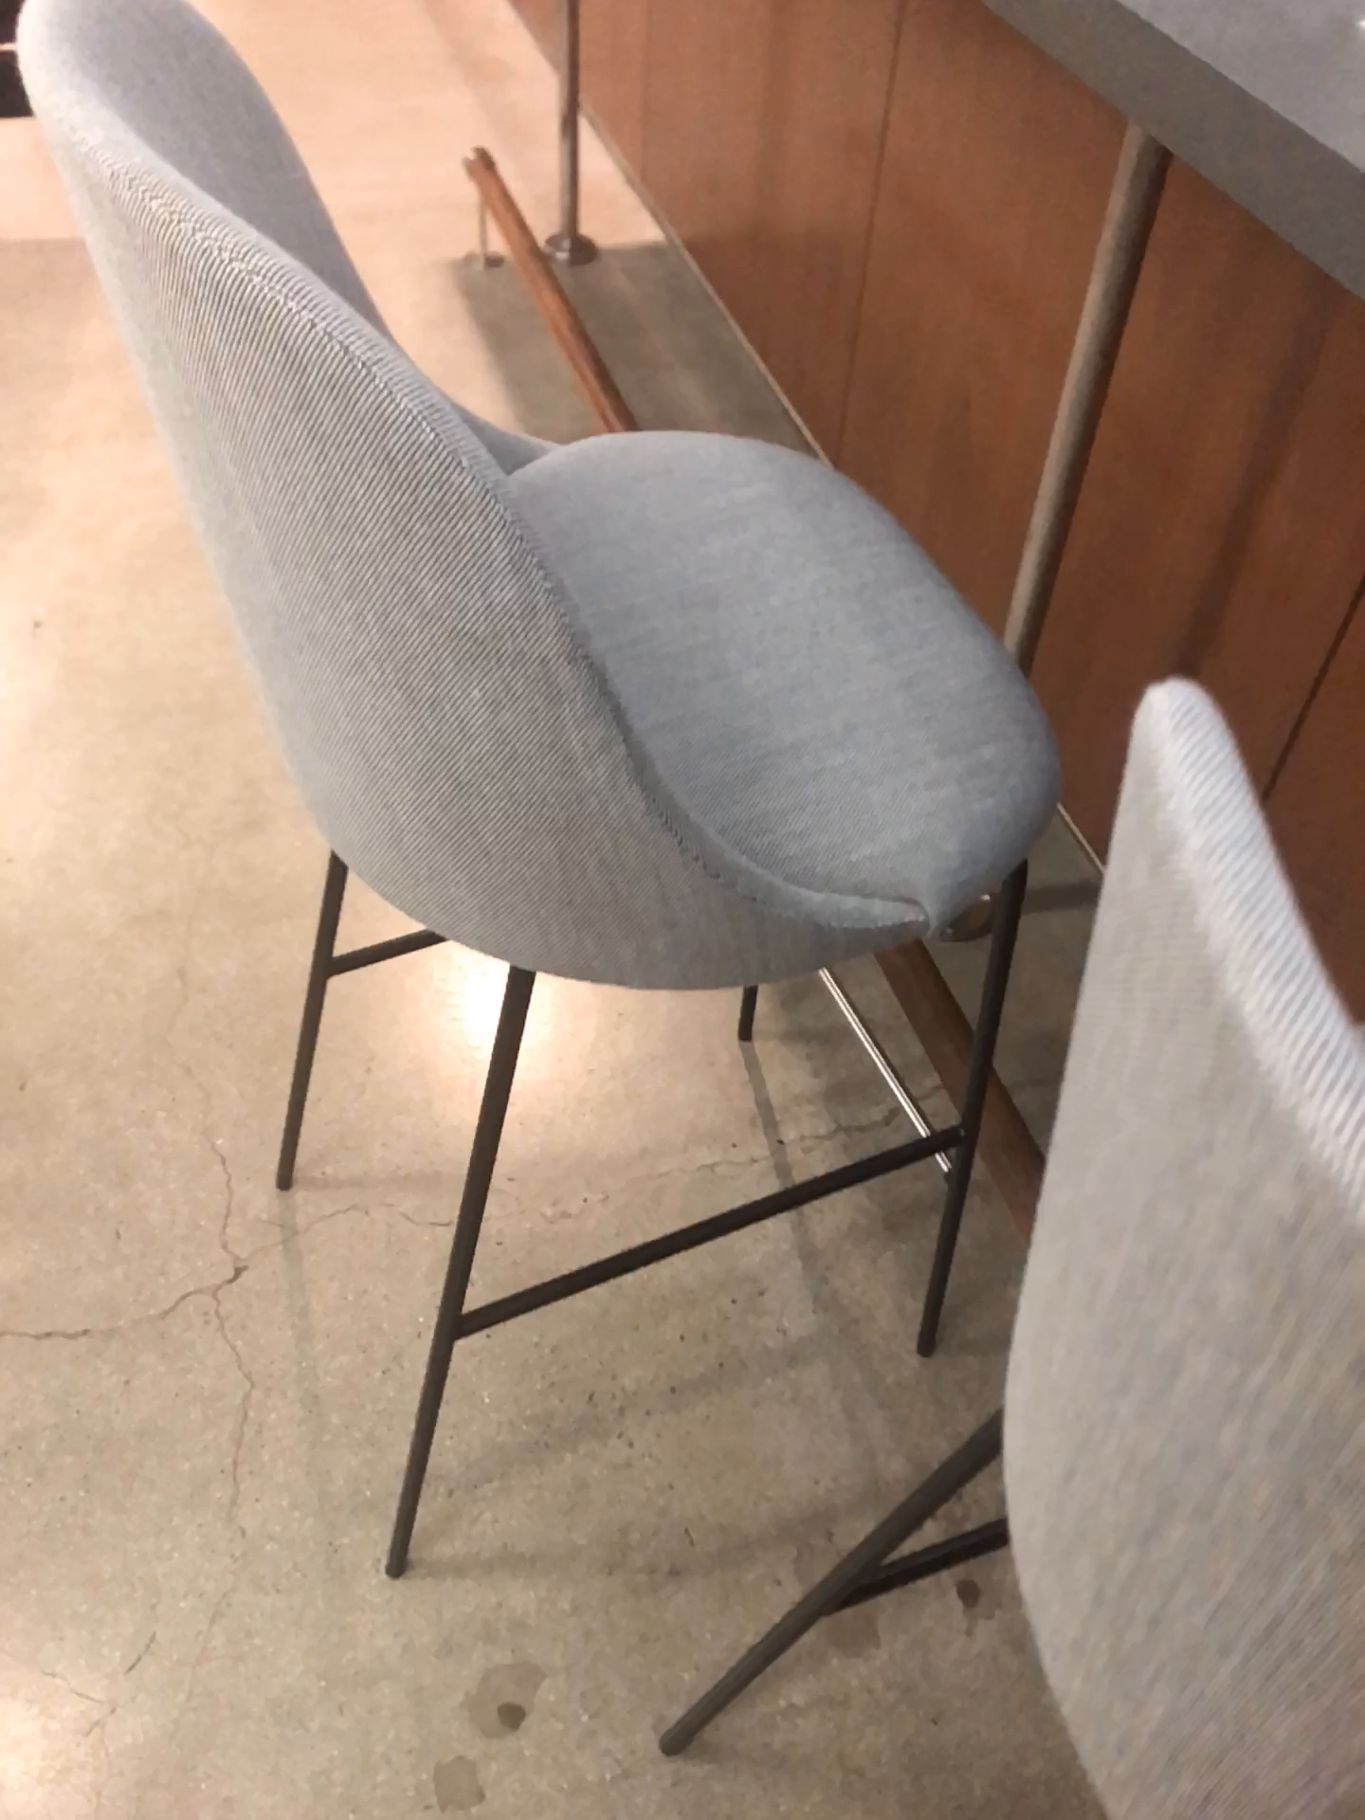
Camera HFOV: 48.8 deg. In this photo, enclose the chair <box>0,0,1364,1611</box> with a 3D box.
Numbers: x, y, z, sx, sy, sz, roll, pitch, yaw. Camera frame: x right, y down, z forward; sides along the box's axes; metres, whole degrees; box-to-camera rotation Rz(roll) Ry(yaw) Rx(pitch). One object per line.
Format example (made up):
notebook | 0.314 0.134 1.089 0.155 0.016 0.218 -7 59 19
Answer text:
chair | -0.037 -0.060 1.052 0.632 1.091 0.513 -15 50 -16
